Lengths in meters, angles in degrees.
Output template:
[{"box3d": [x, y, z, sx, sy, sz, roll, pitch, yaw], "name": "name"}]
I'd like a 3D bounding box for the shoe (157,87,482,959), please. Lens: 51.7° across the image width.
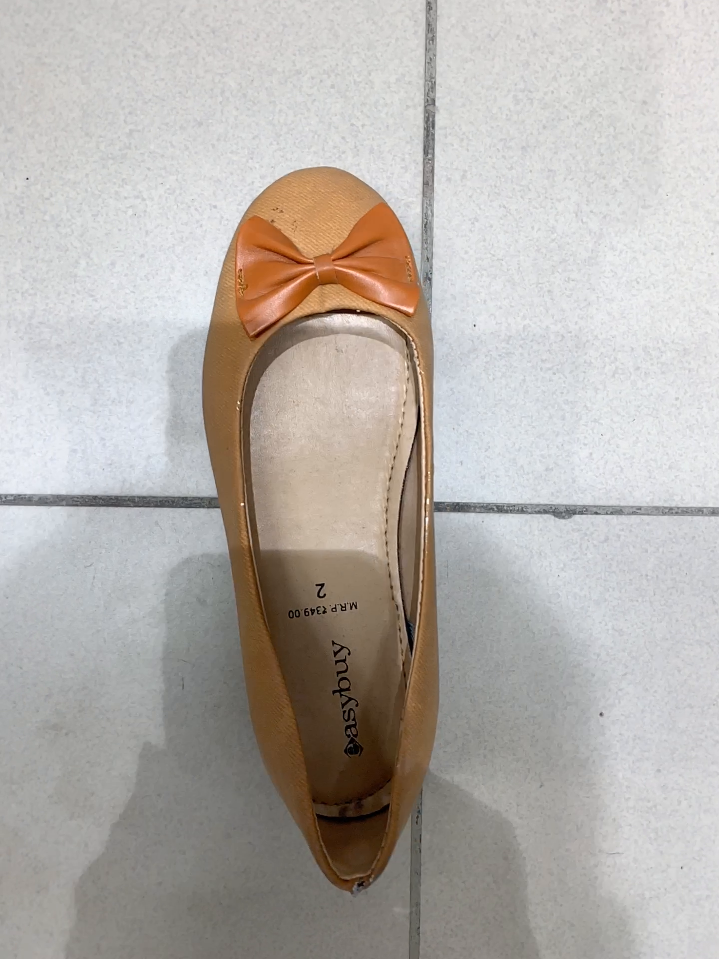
[{"box3d": [-0.011, 0.012, 0.223, 0.080, 0.070, 0.220, -1, 91, -3], "name": "shoe"}]
